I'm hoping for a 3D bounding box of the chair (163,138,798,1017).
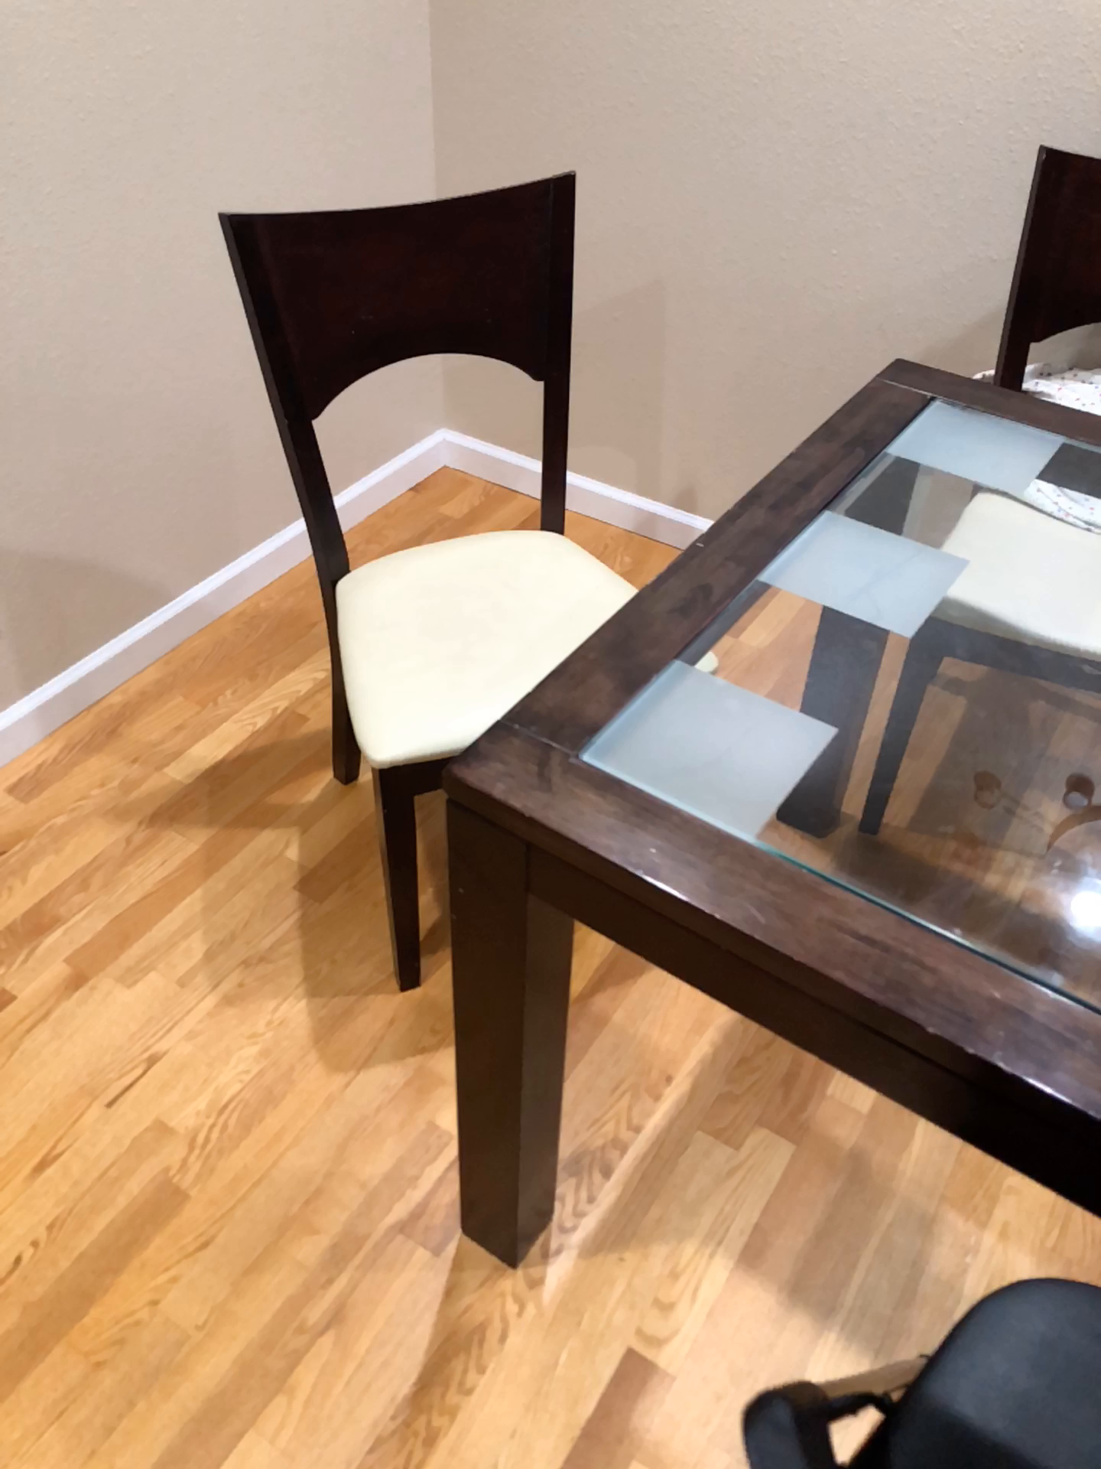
[{"bbox_3d":[-0.115,-0.187,1.550,0.520,0.905,0.533,-13,44,-17],"label":"chair"}]
